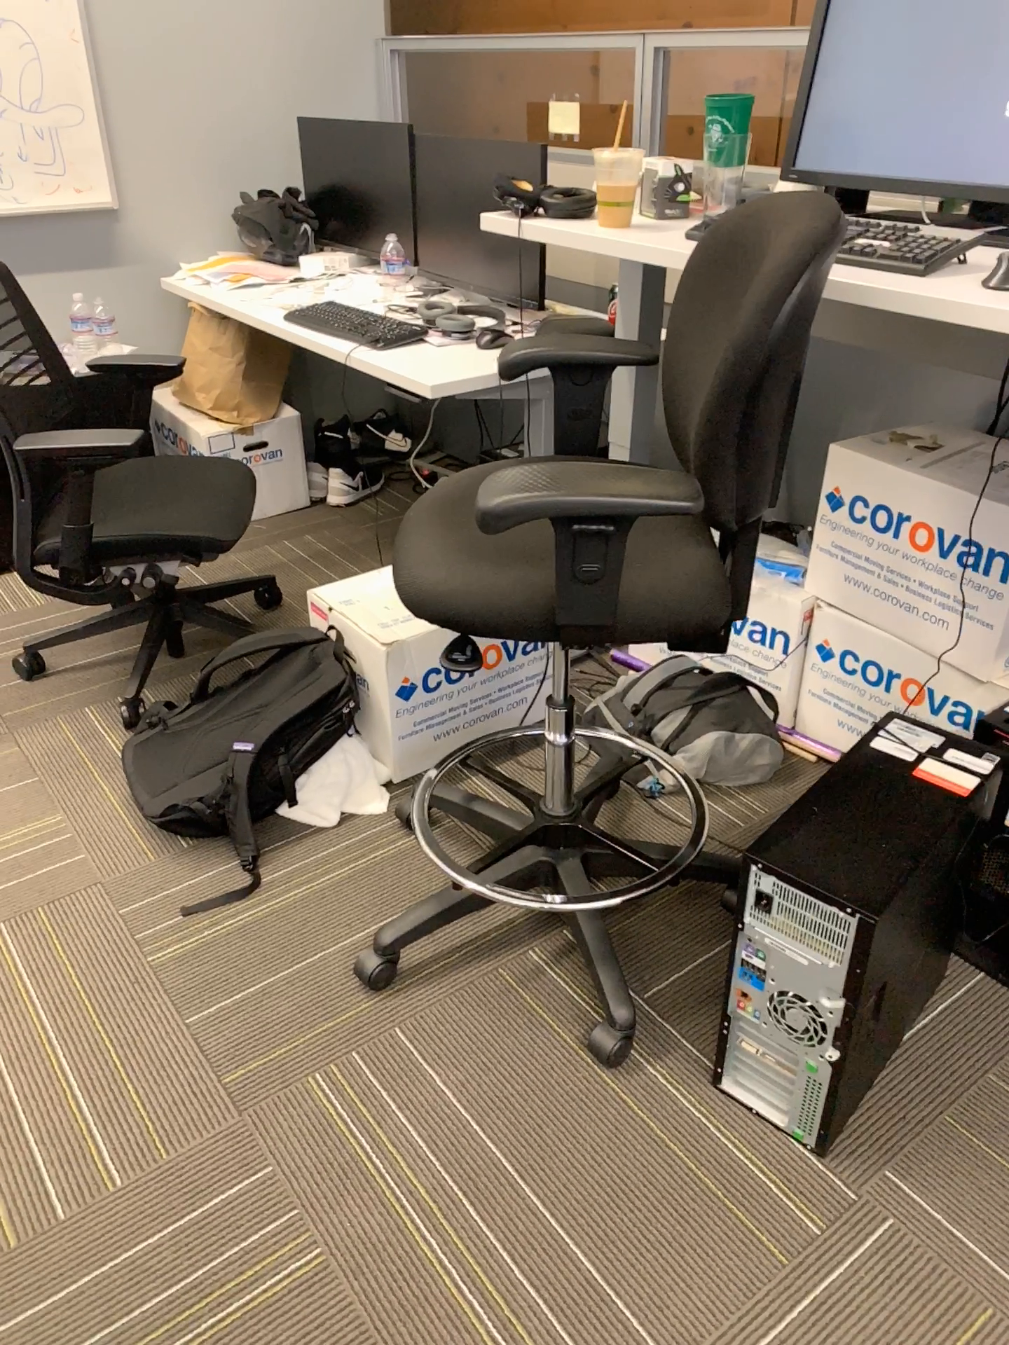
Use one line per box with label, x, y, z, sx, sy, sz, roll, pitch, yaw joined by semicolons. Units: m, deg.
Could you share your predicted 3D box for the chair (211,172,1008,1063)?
chair;0.108;-0.099;1.530;0.770;1.103;0.714;-1;30;-1
